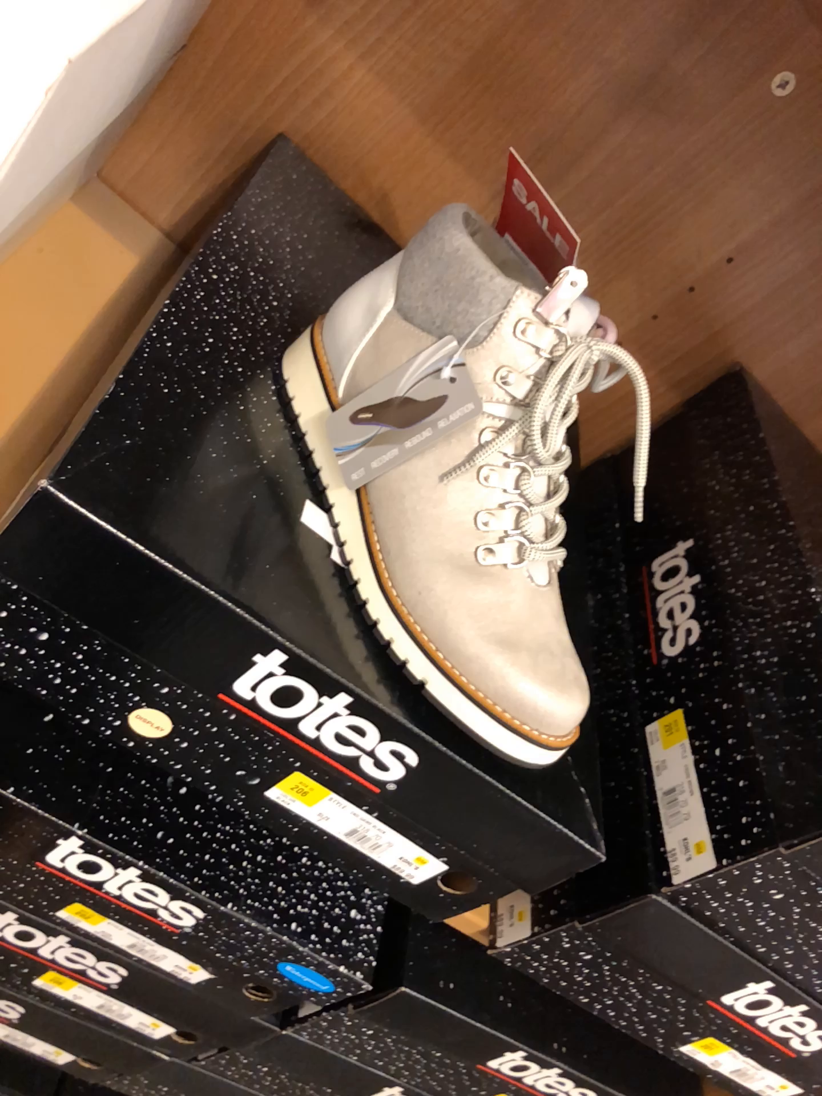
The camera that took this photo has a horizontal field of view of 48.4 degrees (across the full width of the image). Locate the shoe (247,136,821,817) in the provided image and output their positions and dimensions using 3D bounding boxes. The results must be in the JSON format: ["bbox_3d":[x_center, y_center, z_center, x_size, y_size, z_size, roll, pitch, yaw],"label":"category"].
[{"bbox_3d":[0.044,-0.027,0.394,0.100,0.133,0.228,1,59,-52],"label":"shoe"}]
